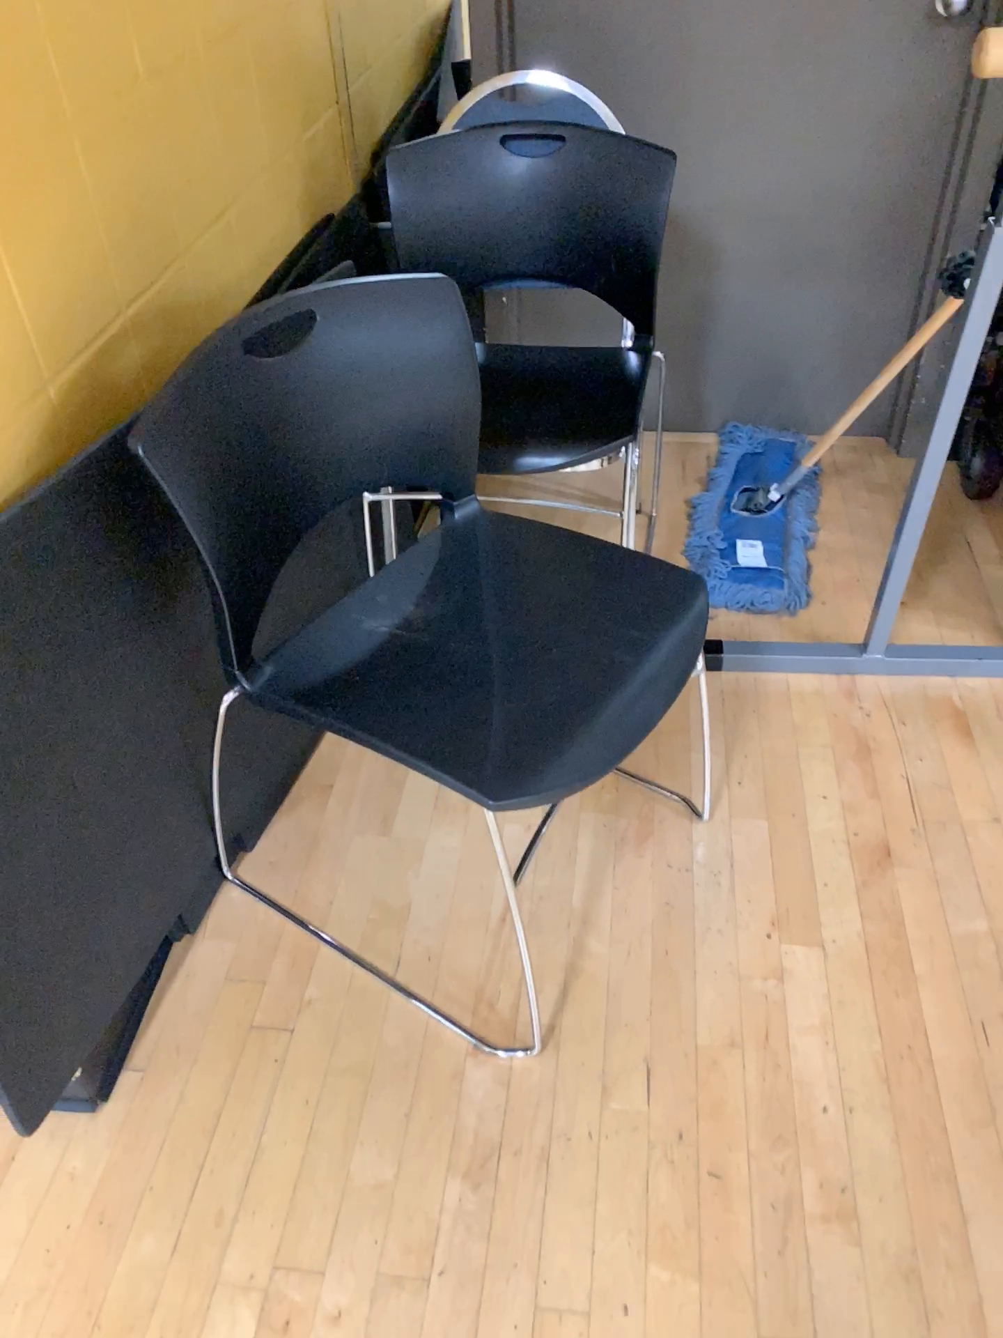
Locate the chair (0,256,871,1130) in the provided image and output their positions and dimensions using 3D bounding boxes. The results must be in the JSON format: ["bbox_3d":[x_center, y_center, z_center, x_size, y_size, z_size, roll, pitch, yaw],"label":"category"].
[{"bbox_3d":[-0.051,-0.024,1.343,0.727,0.722,0.638,23,46,27],"label":"chair"}]

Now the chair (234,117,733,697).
[{"bbox_3d":[0.038,-0.526,1.920,0.676,0.762,0.780,6,41,10],"label":"chair"}]
